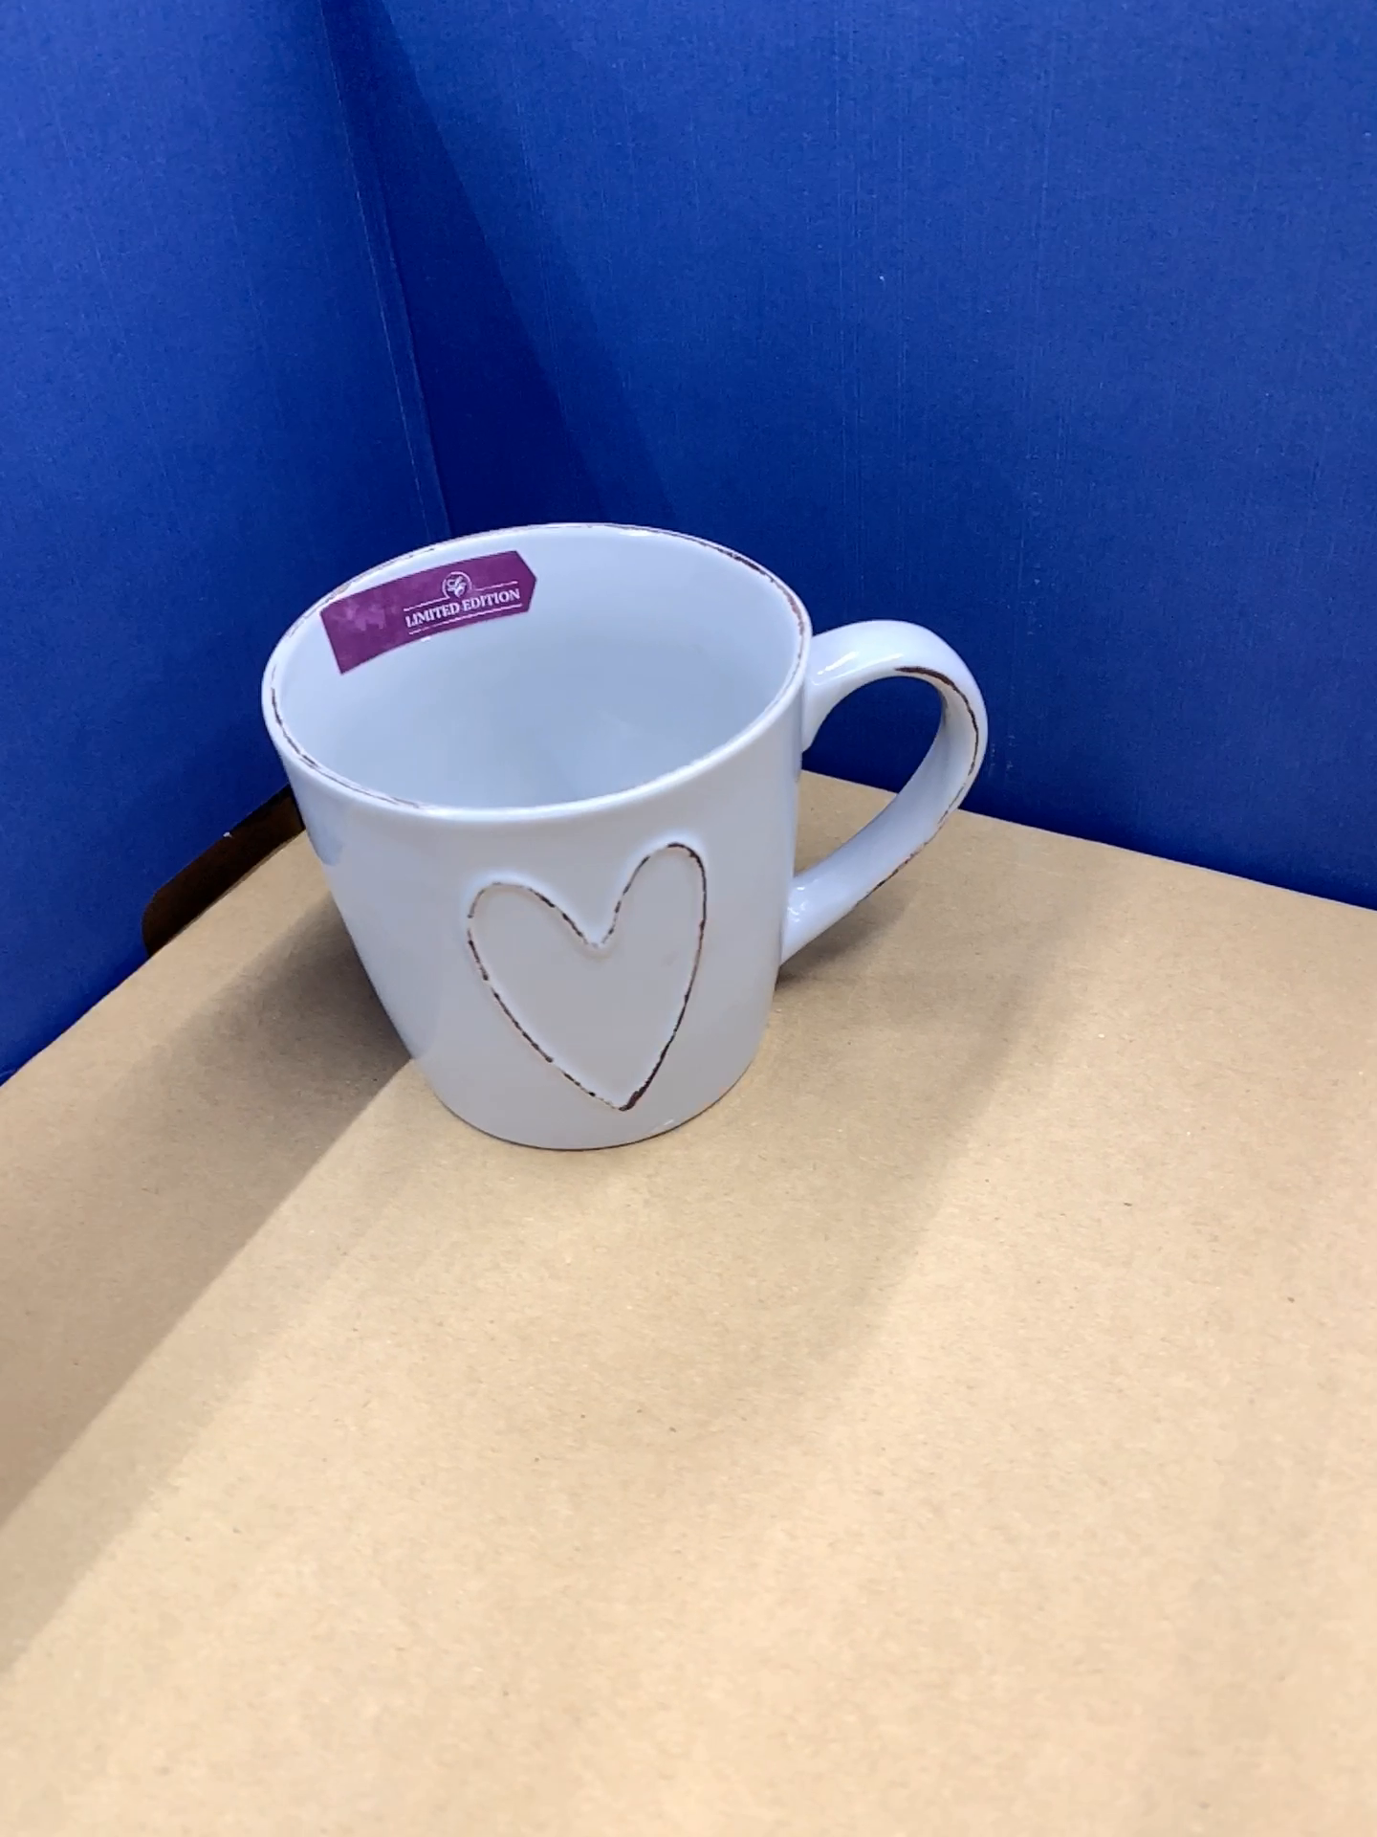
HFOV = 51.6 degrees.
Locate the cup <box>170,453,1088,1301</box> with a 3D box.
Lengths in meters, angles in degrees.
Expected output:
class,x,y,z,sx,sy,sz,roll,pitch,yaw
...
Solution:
class,x,y,z,sx,sy,sz,roll,pitch,yaw
cup,-0.012,-0.015,0.256,0.124,0.085,0.091,-18,40,-15
